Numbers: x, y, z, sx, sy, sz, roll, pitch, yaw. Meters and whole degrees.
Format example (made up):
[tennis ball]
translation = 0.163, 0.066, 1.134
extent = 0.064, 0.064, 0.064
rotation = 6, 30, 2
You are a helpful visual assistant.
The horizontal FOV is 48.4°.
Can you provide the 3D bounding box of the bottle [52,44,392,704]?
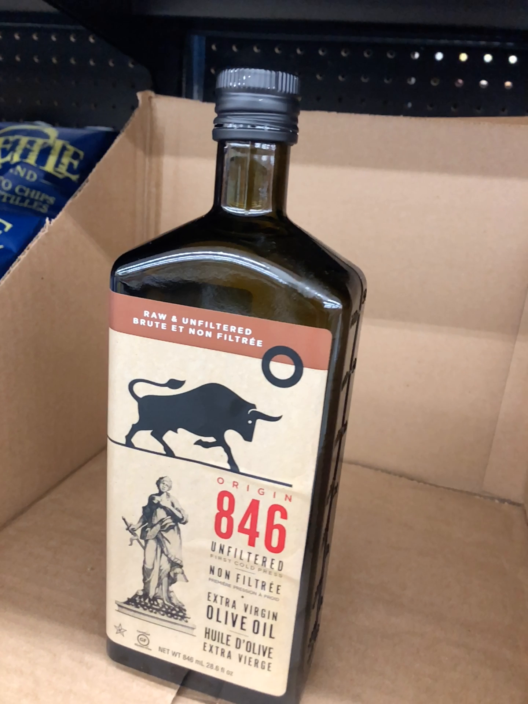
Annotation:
[bottle]
translation = -0.019, 0.020, 0.238
extent = 0.100, 0.249, 0.060
rotation = 9, 20, 15
